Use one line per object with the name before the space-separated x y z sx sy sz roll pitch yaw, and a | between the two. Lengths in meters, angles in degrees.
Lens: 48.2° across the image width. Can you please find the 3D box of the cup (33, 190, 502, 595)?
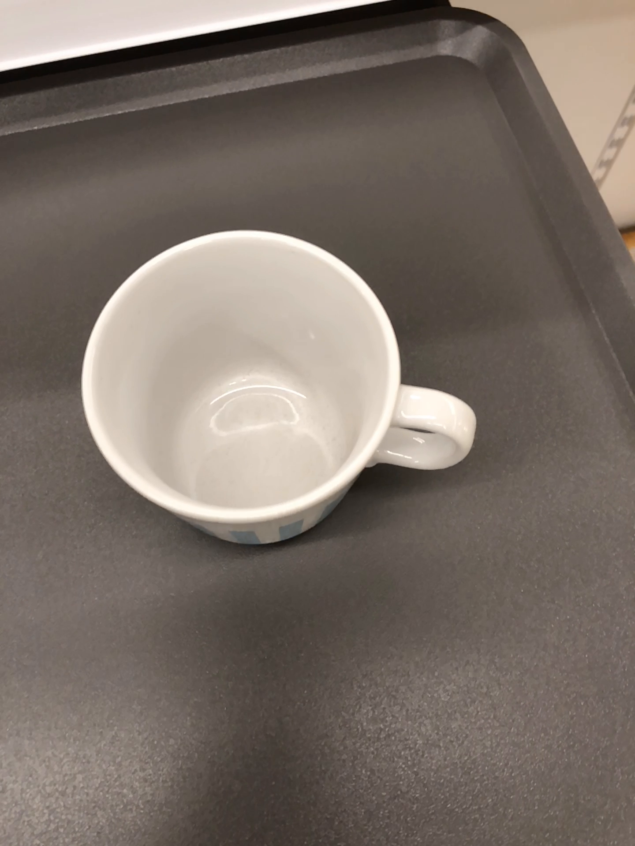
cup | -0.008 -0.006 0.217 0.110 0.070 0.090 7 67 2
